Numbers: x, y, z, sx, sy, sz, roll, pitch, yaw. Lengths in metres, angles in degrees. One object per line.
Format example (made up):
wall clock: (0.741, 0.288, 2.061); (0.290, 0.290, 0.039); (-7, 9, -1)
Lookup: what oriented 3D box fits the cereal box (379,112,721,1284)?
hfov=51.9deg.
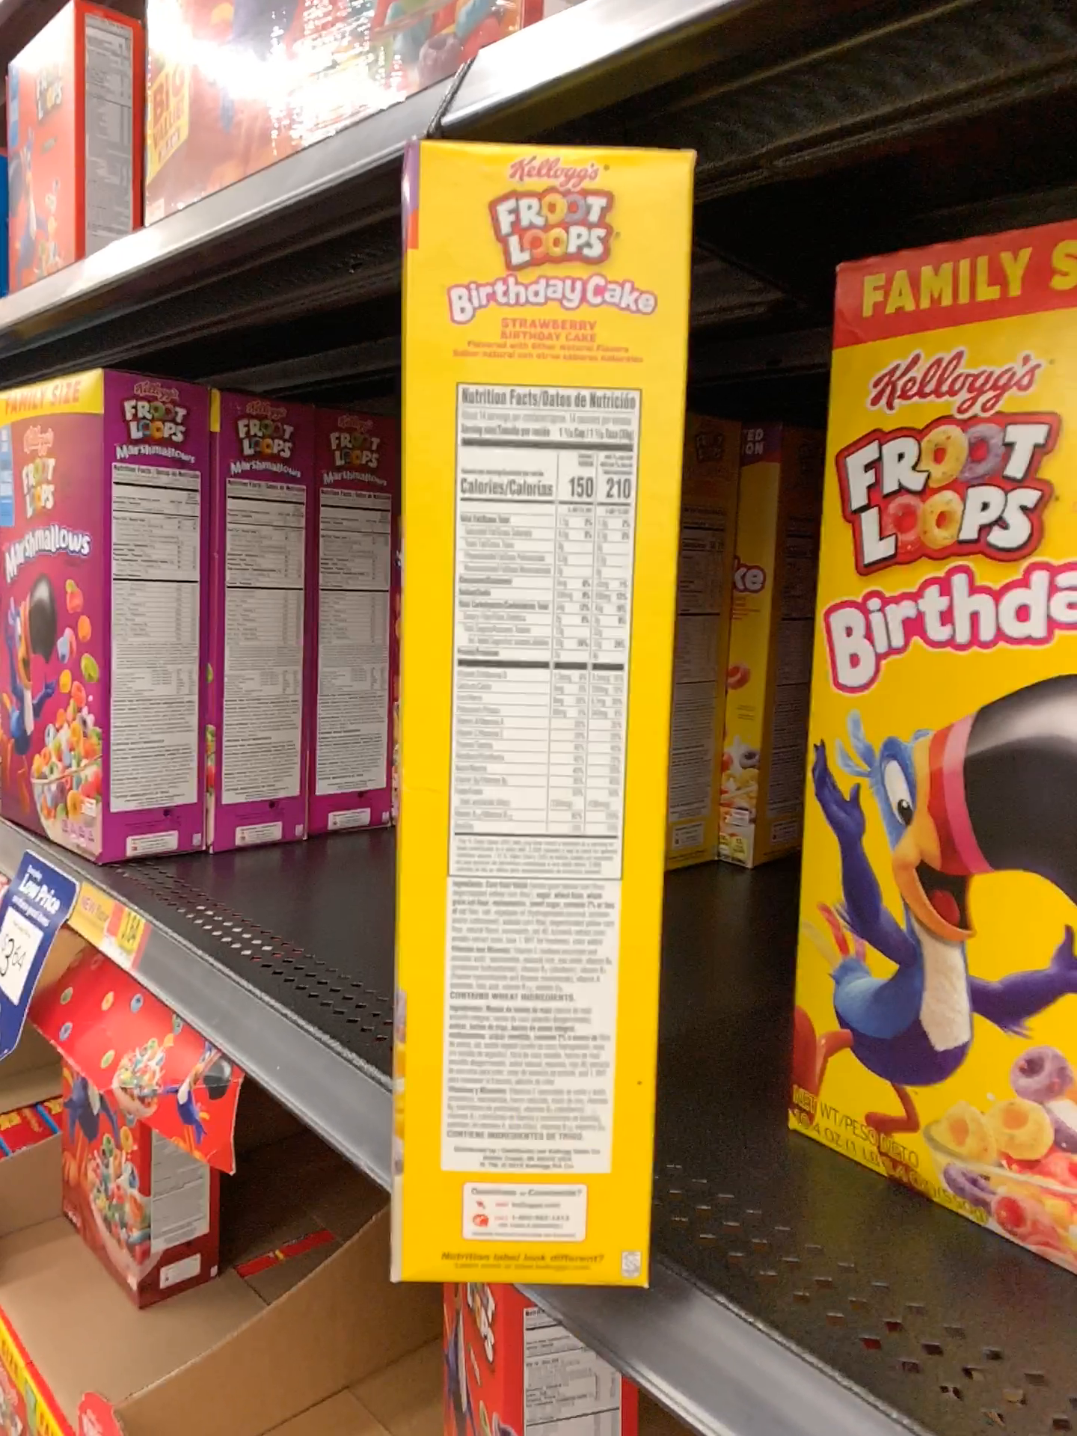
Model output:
cereal box: (-0.004, -0.008, 0.411); (0.080, 0.329, 0.200); (3, 8, -3)
